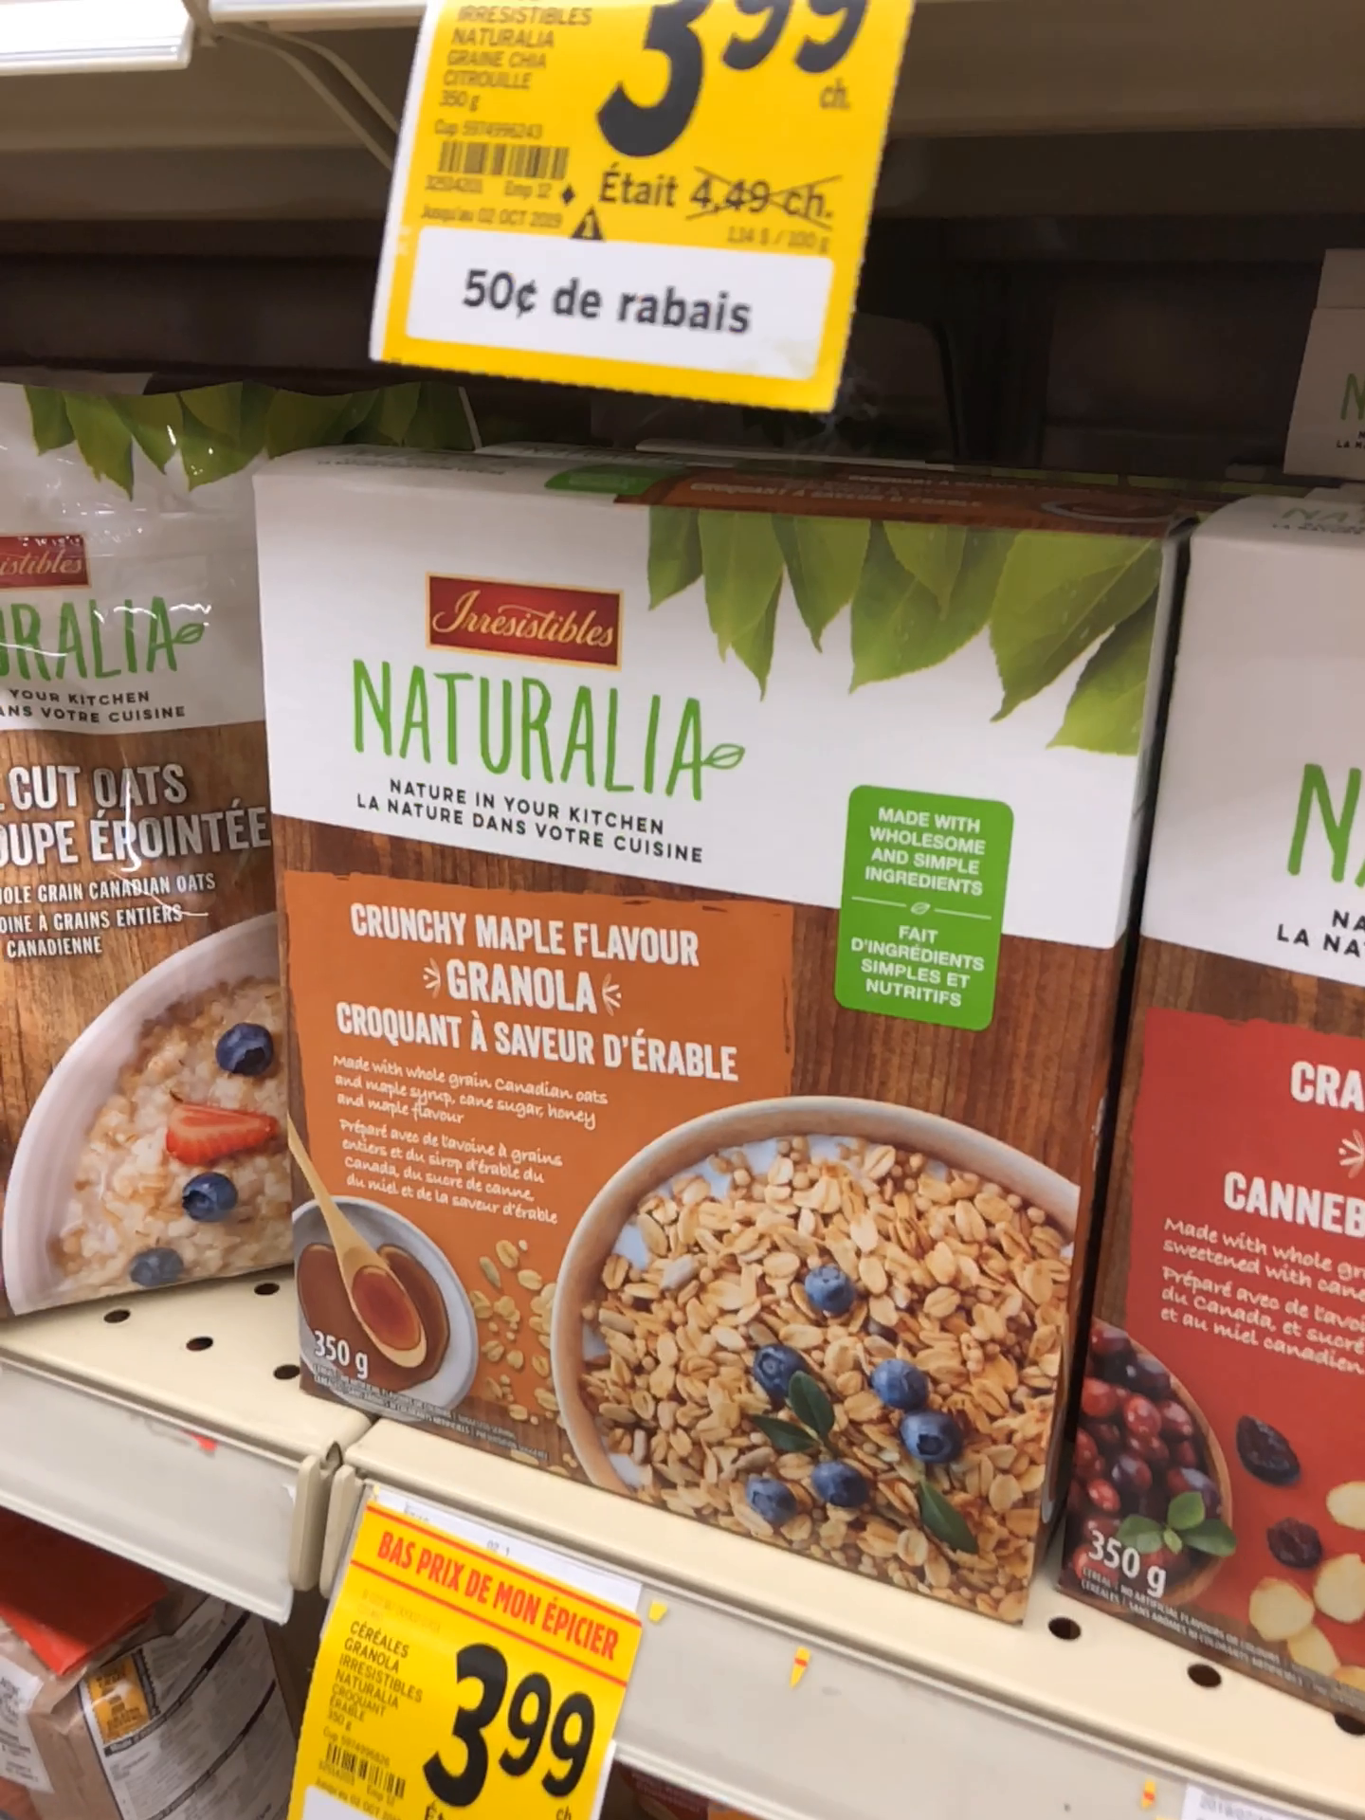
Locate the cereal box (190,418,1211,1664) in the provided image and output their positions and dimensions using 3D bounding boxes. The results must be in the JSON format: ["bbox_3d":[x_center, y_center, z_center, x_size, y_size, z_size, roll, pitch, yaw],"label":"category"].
[{"bbox_3d":[-0.003,0.018,0.294,0.170,0.209,0.050,10,21,21],"label":"cereal box"}]
